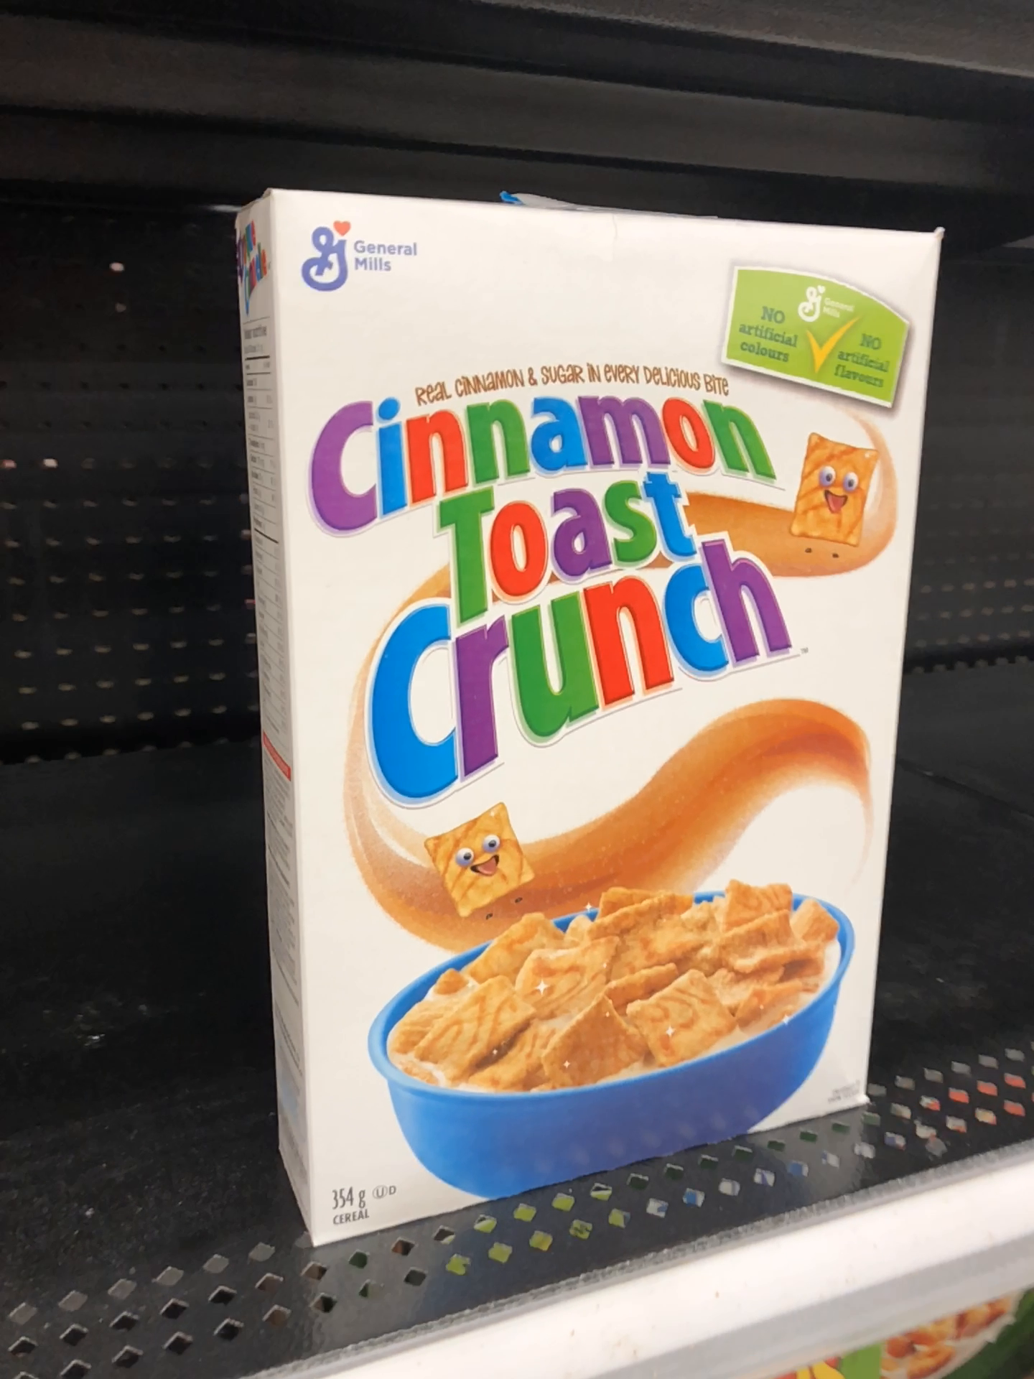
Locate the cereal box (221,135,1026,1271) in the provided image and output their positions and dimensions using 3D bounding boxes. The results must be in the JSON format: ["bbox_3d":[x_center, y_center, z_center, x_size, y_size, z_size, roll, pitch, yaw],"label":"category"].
[{"bbox_3d":[0.033,0.004,0.332,0.210,0.279,0.050,-5,14,-21],"label":"cereal box"}]
